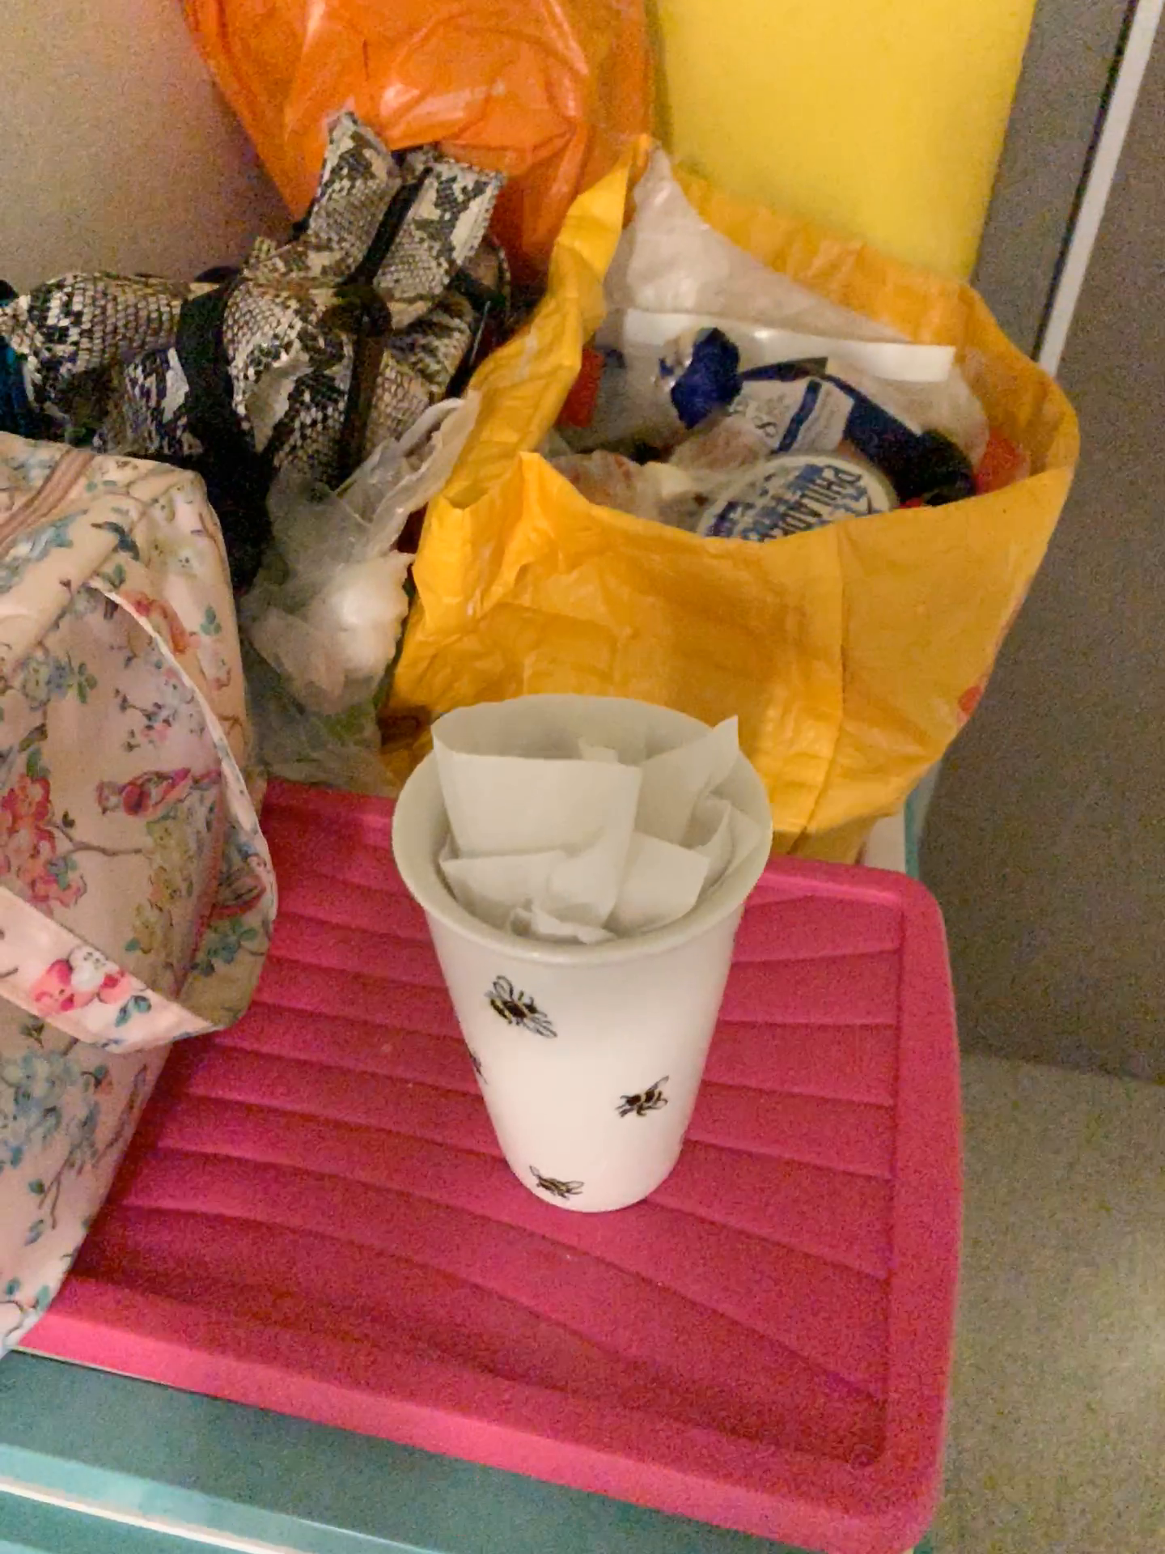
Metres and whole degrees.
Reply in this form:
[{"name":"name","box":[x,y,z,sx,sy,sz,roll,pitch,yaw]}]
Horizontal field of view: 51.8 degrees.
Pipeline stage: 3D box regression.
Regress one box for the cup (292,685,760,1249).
[{"name":"cup","box":[-0.007,0.050,0.322,0.098,0.112,0.091,-1,40,1]}]
